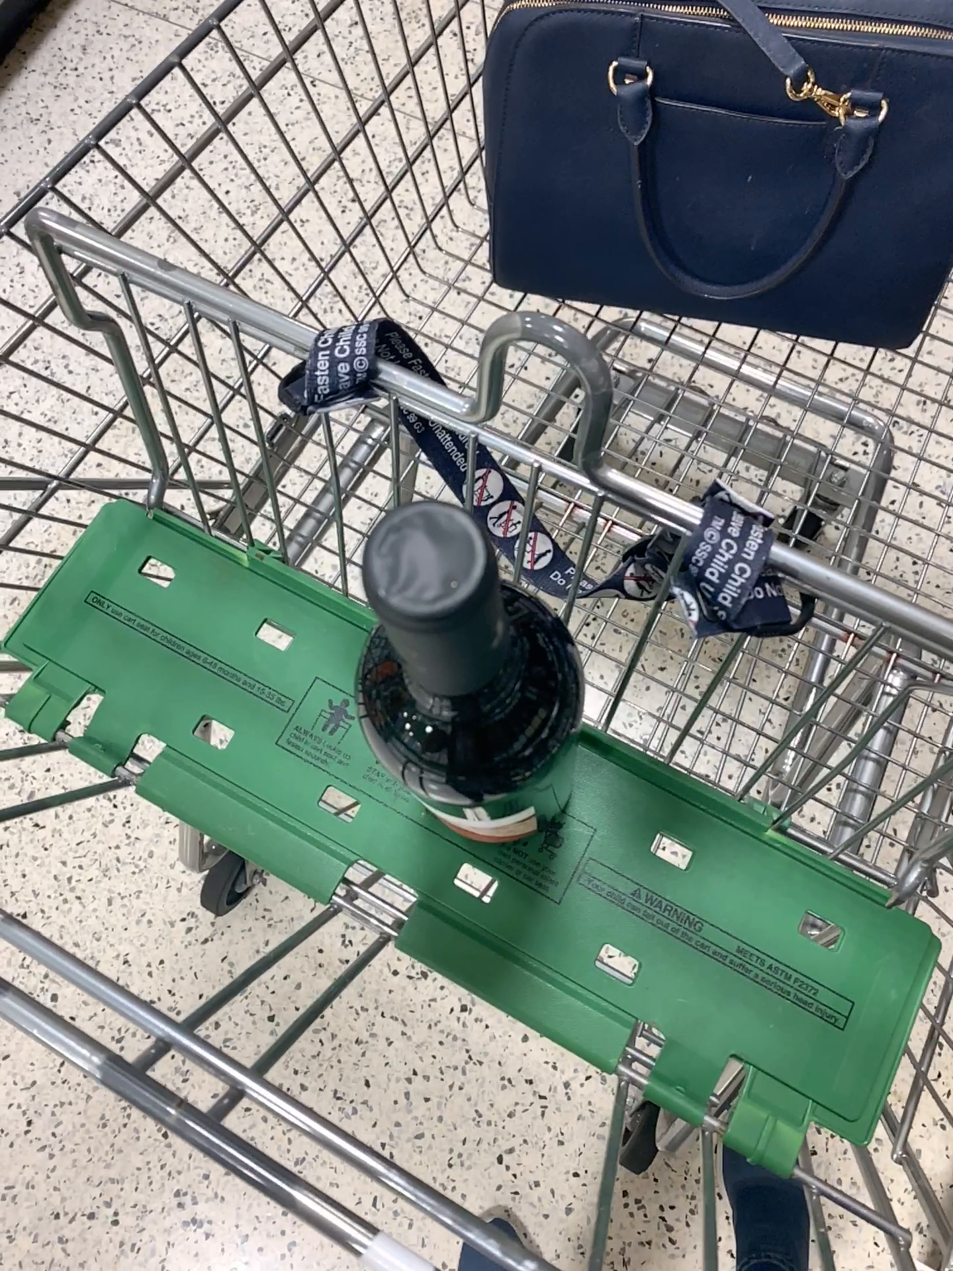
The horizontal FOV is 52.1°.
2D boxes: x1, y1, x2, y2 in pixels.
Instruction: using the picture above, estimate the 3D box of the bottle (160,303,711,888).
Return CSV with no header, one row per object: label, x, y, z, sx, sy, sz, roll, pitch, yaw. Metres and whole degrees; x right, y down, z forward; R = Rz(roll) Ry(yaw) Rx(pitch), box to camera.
bottle,0.002,0.024,0.338,0.080,0.299,0.080,-1,73,4
